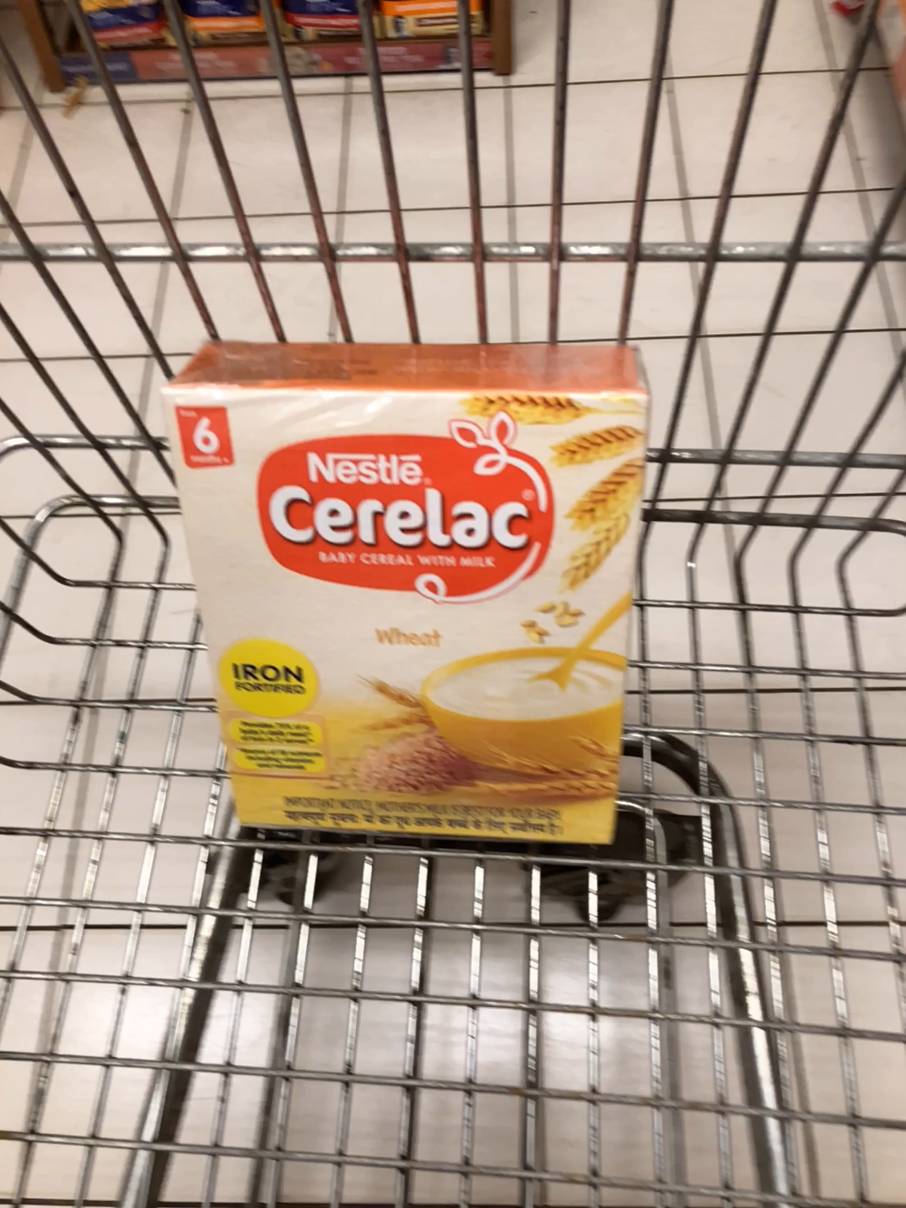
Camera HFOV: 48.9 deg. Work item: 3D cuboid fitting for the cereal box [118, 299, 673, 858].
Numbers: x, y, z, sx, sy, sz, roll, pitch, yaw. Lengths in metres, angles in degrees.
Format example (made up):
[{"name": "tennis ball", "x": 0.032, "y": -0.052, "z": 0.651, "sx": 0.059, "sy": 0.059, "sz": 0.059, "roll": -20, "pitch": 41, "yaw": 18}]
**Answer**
[{"name": "cereal box", "x": -0.014, "y": -0.004, "z": 0.333, "sx": 0.150, "sy": 0.179, "sz": 0.050, "roll": 2, "pitch": 30, "yaw": 4}]
